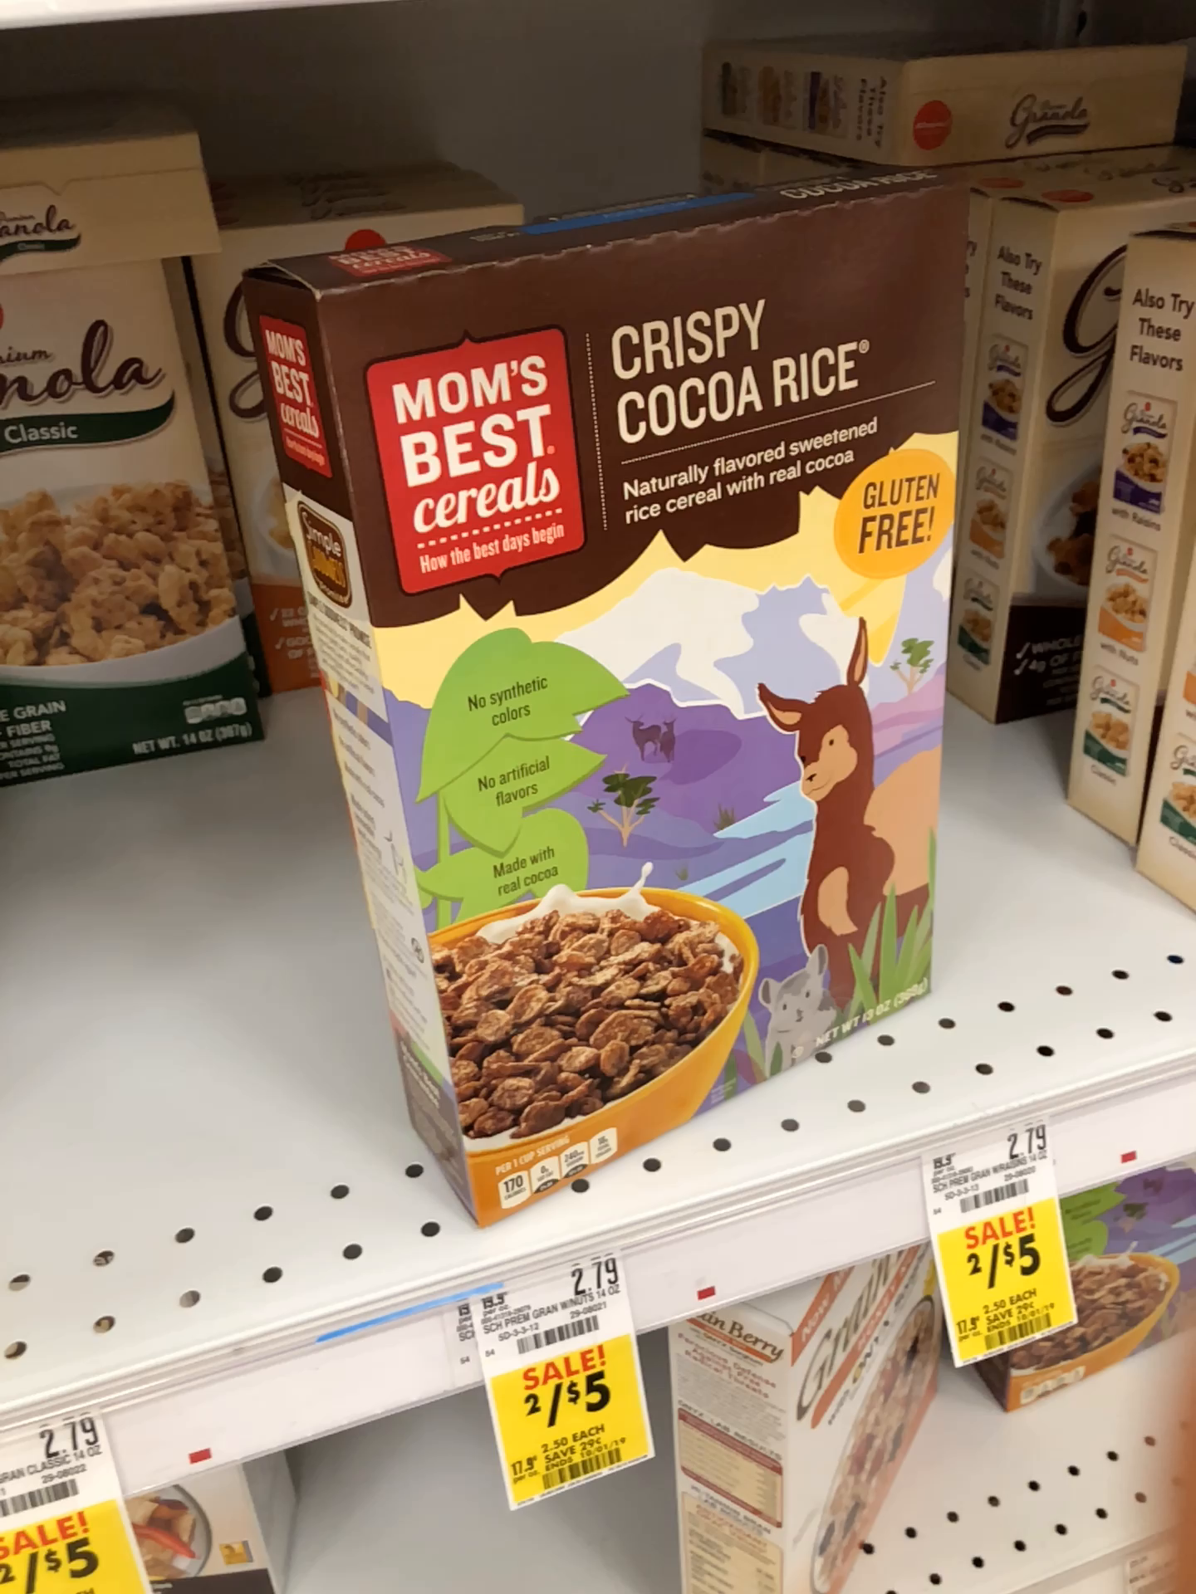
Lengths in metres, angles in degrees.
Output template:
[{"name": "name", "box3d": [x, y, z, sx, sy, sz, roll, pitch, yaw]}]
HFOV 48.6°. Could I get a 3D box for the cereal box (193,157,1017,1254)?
[{"name": "cereal box", "box3d": [0.018, -0.031, 0.407, 0.200, 0.279, 0.080, -21, 32, -25]}]
